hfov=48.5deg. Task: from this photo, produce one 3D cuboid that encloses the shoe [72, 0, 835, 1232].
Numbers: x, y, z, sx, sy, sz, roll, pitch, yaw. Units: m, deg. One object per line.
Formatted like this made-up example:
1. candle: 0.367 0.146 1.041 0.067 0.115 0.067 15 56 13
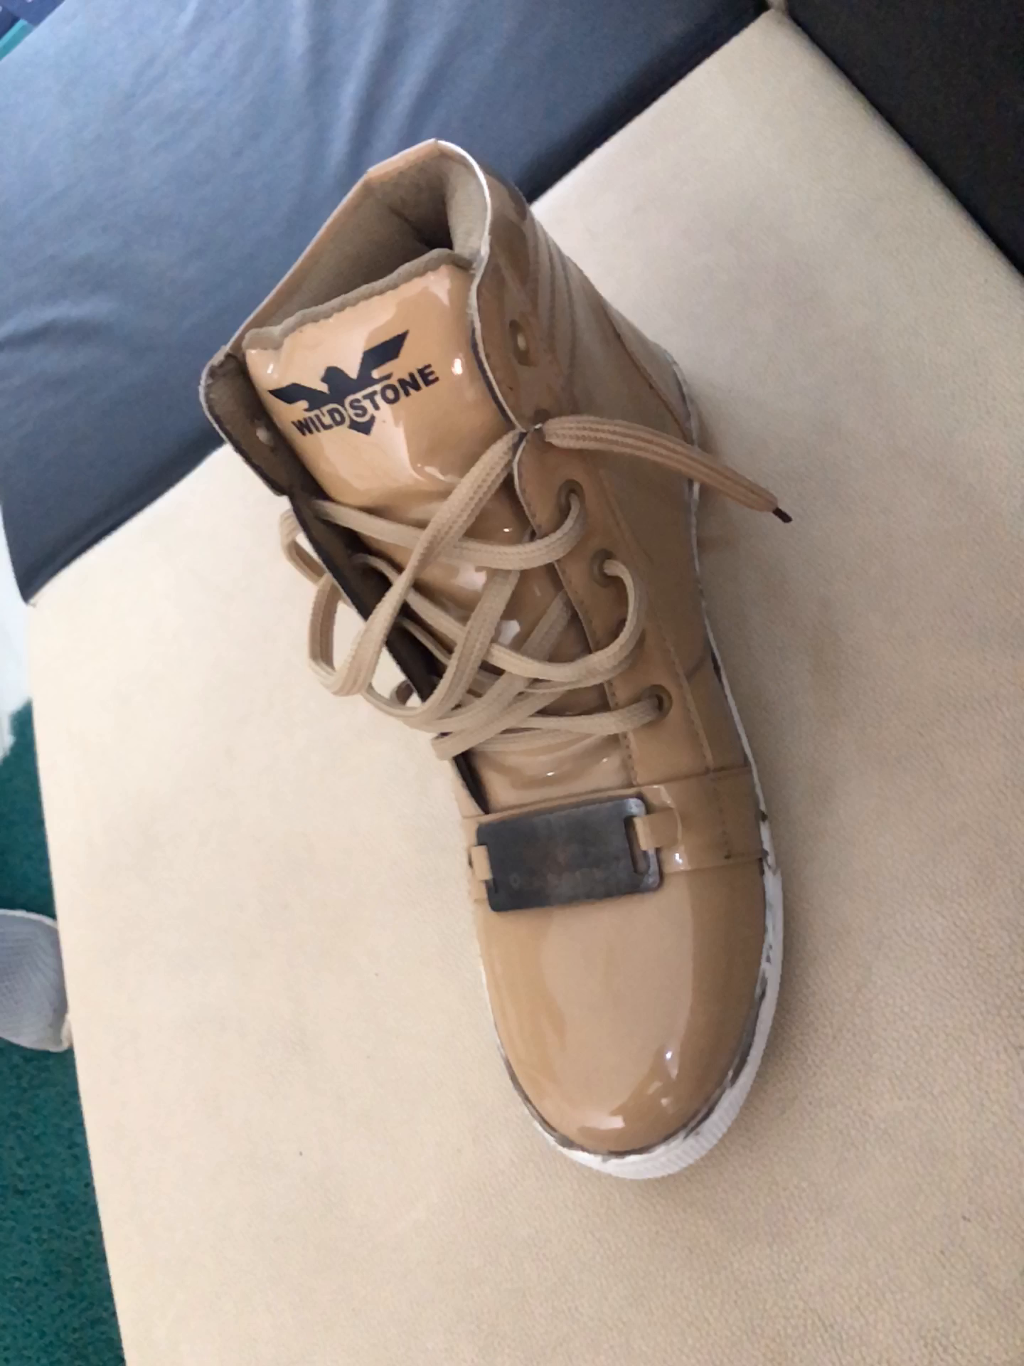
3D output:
1. shoe: -0.007 -0.012 0.311 0.100 0.160 0.280 -16 64 27
